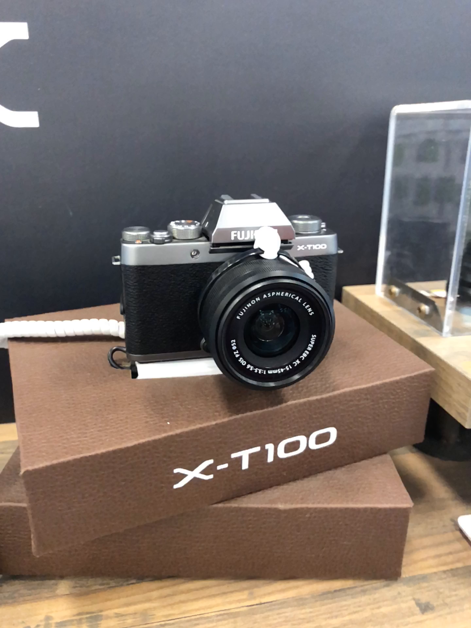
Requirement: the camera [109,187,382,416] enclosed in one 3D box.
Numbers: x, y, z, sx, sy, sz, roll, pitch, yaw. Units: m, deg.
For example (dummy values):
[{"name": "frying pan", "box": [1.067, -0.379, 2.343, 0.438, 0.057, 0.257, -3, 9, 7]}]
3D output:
[{"name": "camera", "box": [-0.002, -0.015, 0.284, 0.120, 0.090, 0.090, -4, 21, -11]}]
